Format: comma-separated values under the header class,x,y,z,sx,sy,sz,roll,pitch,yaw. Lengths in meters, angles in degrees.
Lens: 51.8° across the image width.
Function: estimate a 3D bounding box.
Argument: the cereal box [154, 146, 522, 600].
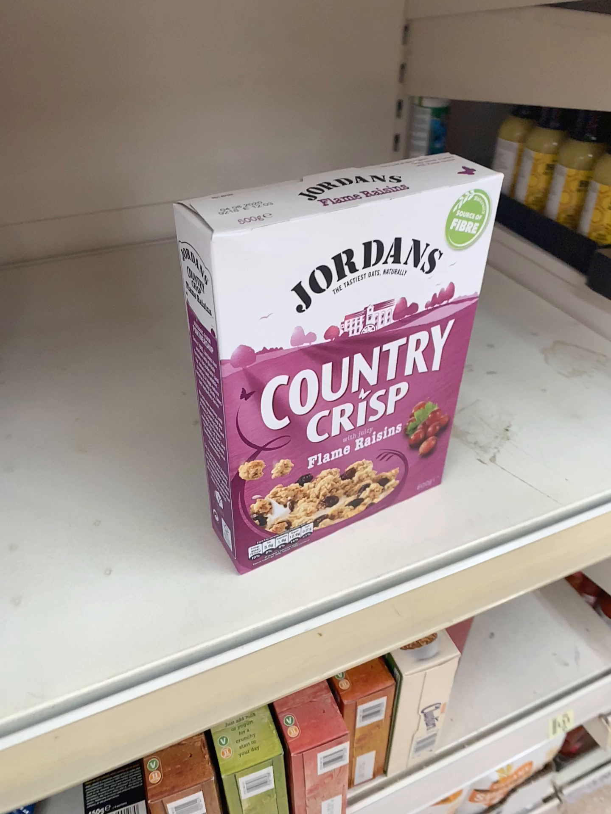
class,x,y,z,sx,sy,sz,roll,pitch,yaw
cereal box,0.023,-0.016,0.411,0.201,0.258,0.050,-19,41,-25
